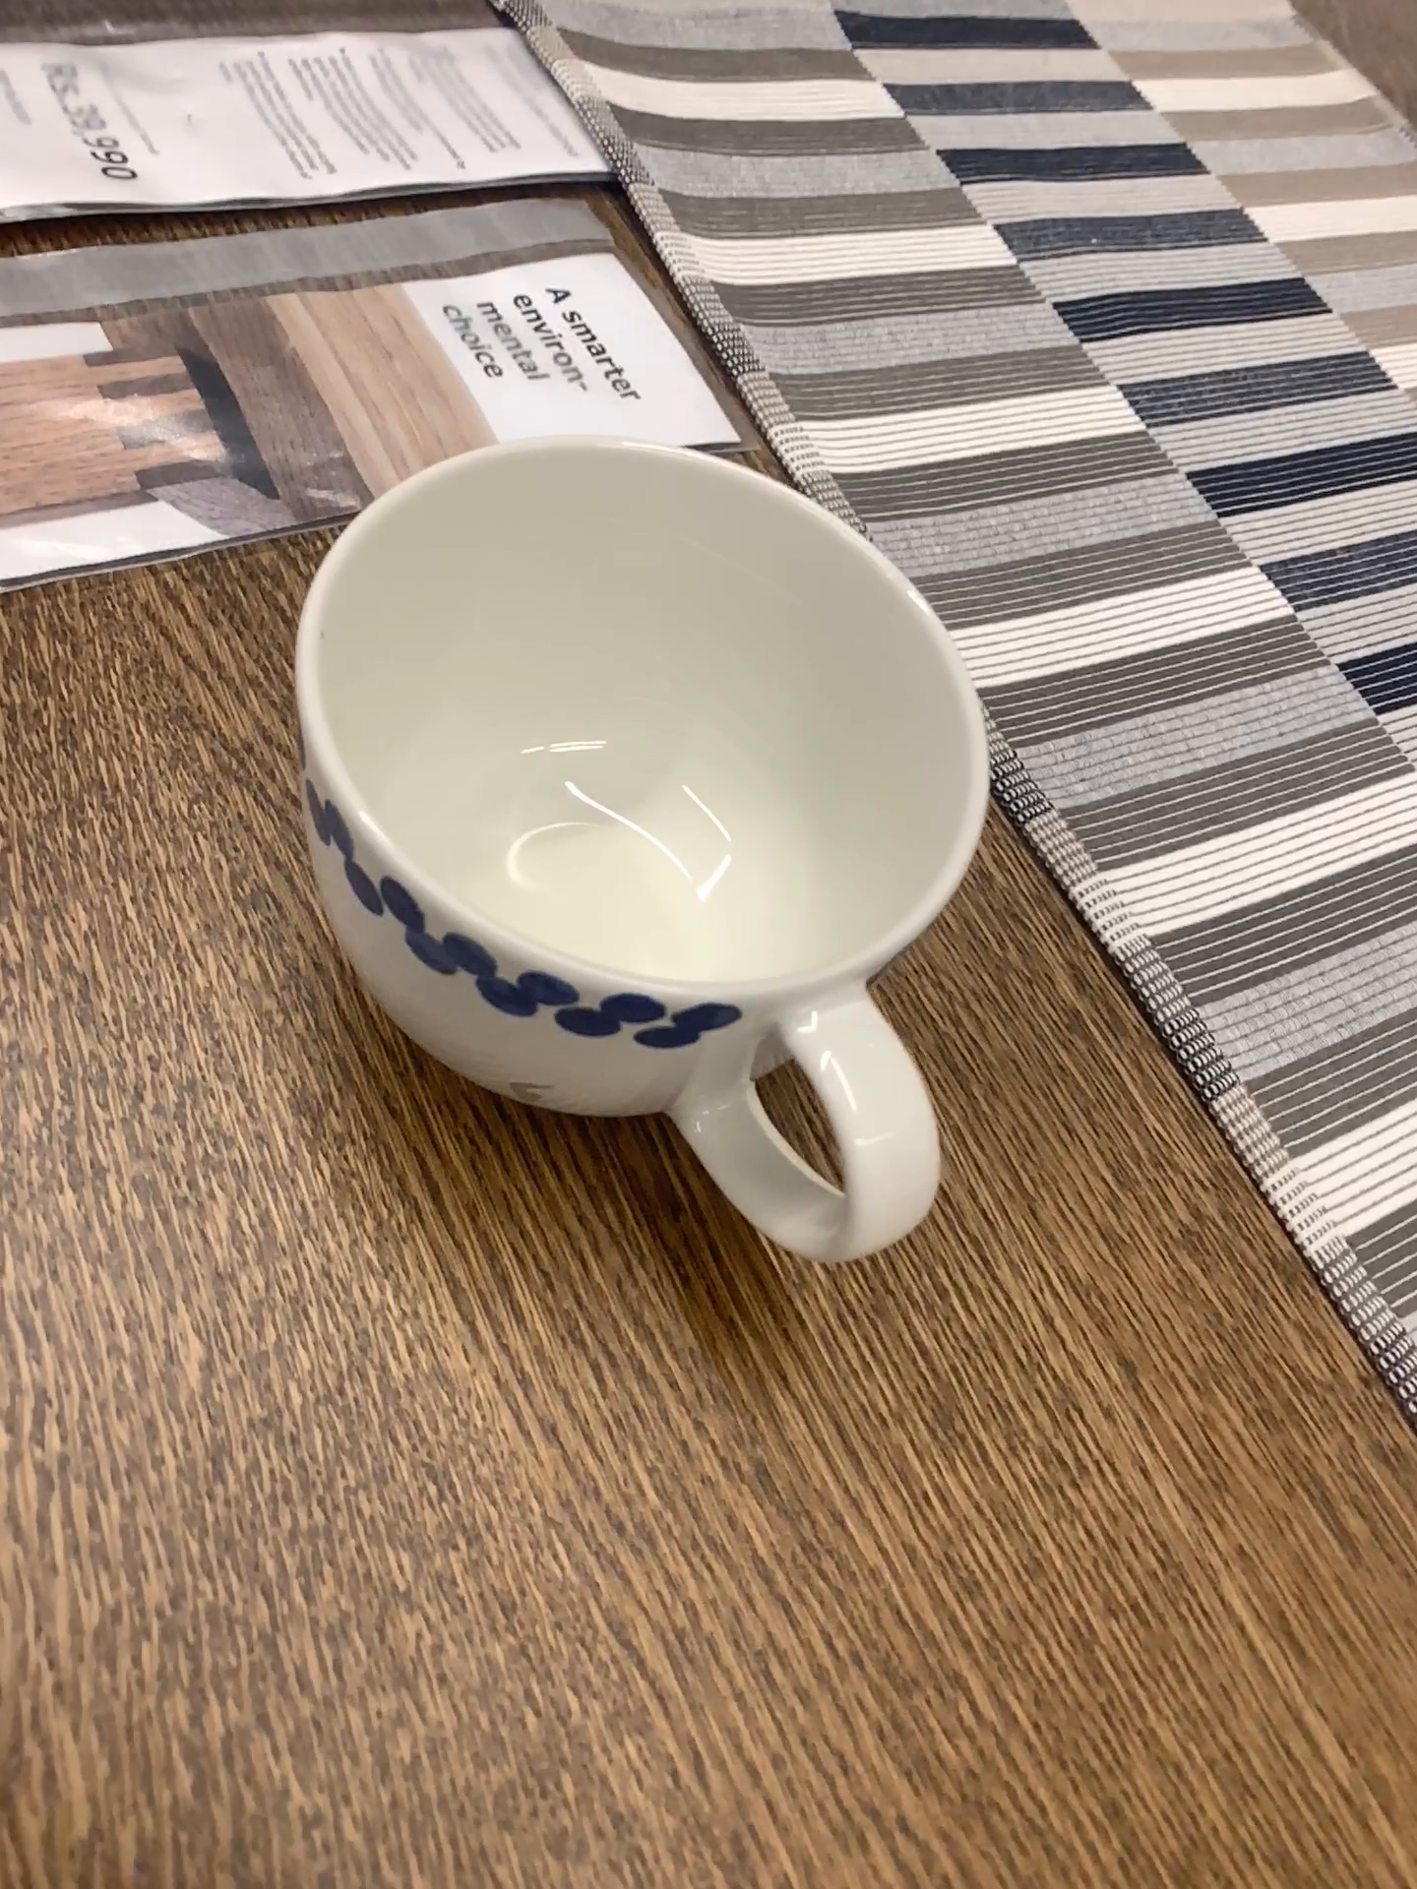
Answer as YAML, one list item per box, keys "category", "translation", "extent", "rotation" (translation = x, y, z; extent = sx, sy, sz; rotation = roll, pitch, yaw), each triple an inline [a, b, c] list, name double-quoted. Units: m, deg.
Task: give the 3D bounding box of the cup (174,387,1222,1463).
- category: "cup"
  translation: [-0.011, -0.009, 0.229]
  extent: [0.100, 0.070, 0.130]
  rotation: [-18, 67, -26]
